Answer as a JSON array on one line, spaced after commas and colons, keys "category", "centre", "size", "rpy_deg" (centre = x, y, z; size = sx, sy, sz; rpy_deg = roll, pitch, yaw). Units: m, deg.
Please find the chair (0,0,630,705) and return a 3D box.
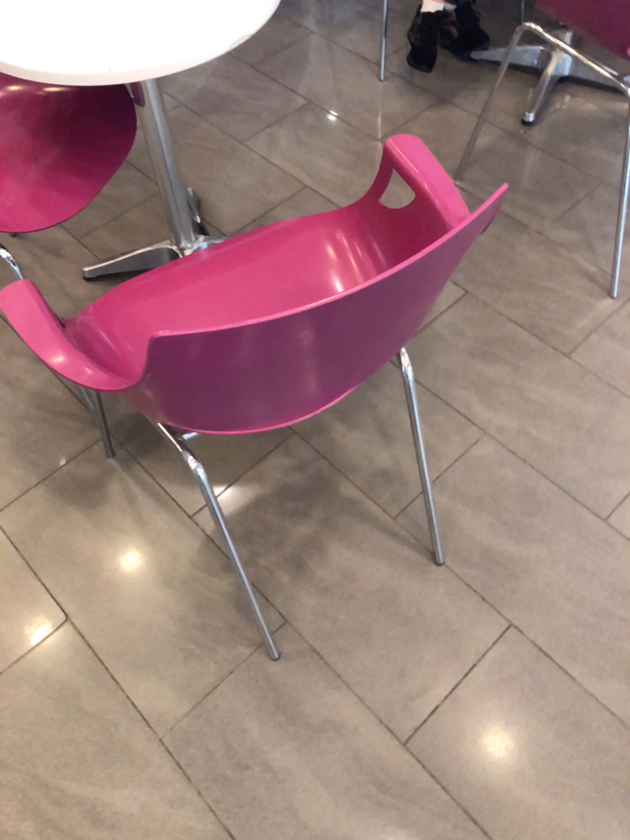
[{"category": "chair", "centre": [-0.069, -0.078, 1.058], "size": [0.630, 0.758, 0.591], "rpy_deg": [-24, 58, -13]}]
